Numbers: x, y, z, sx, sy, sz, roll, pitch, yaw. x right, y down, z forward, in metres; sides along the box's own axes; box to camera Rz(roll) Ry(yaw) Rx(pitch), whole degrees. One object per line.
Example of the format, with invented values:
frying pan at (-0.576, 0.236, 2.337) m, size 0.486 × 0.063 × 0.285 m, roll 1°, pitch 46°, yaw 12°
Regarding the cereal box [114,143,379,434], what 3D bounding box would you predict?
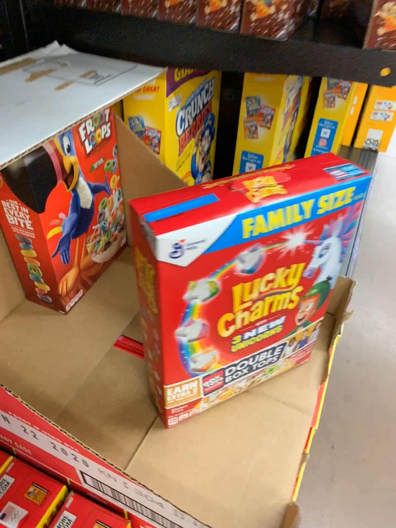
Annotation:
cereal box at (0.045, 0.038, 0.443) m, size 0.230 × 0.288 × 0.060 m, roll -18°, pitch 45°, yaw -22°
